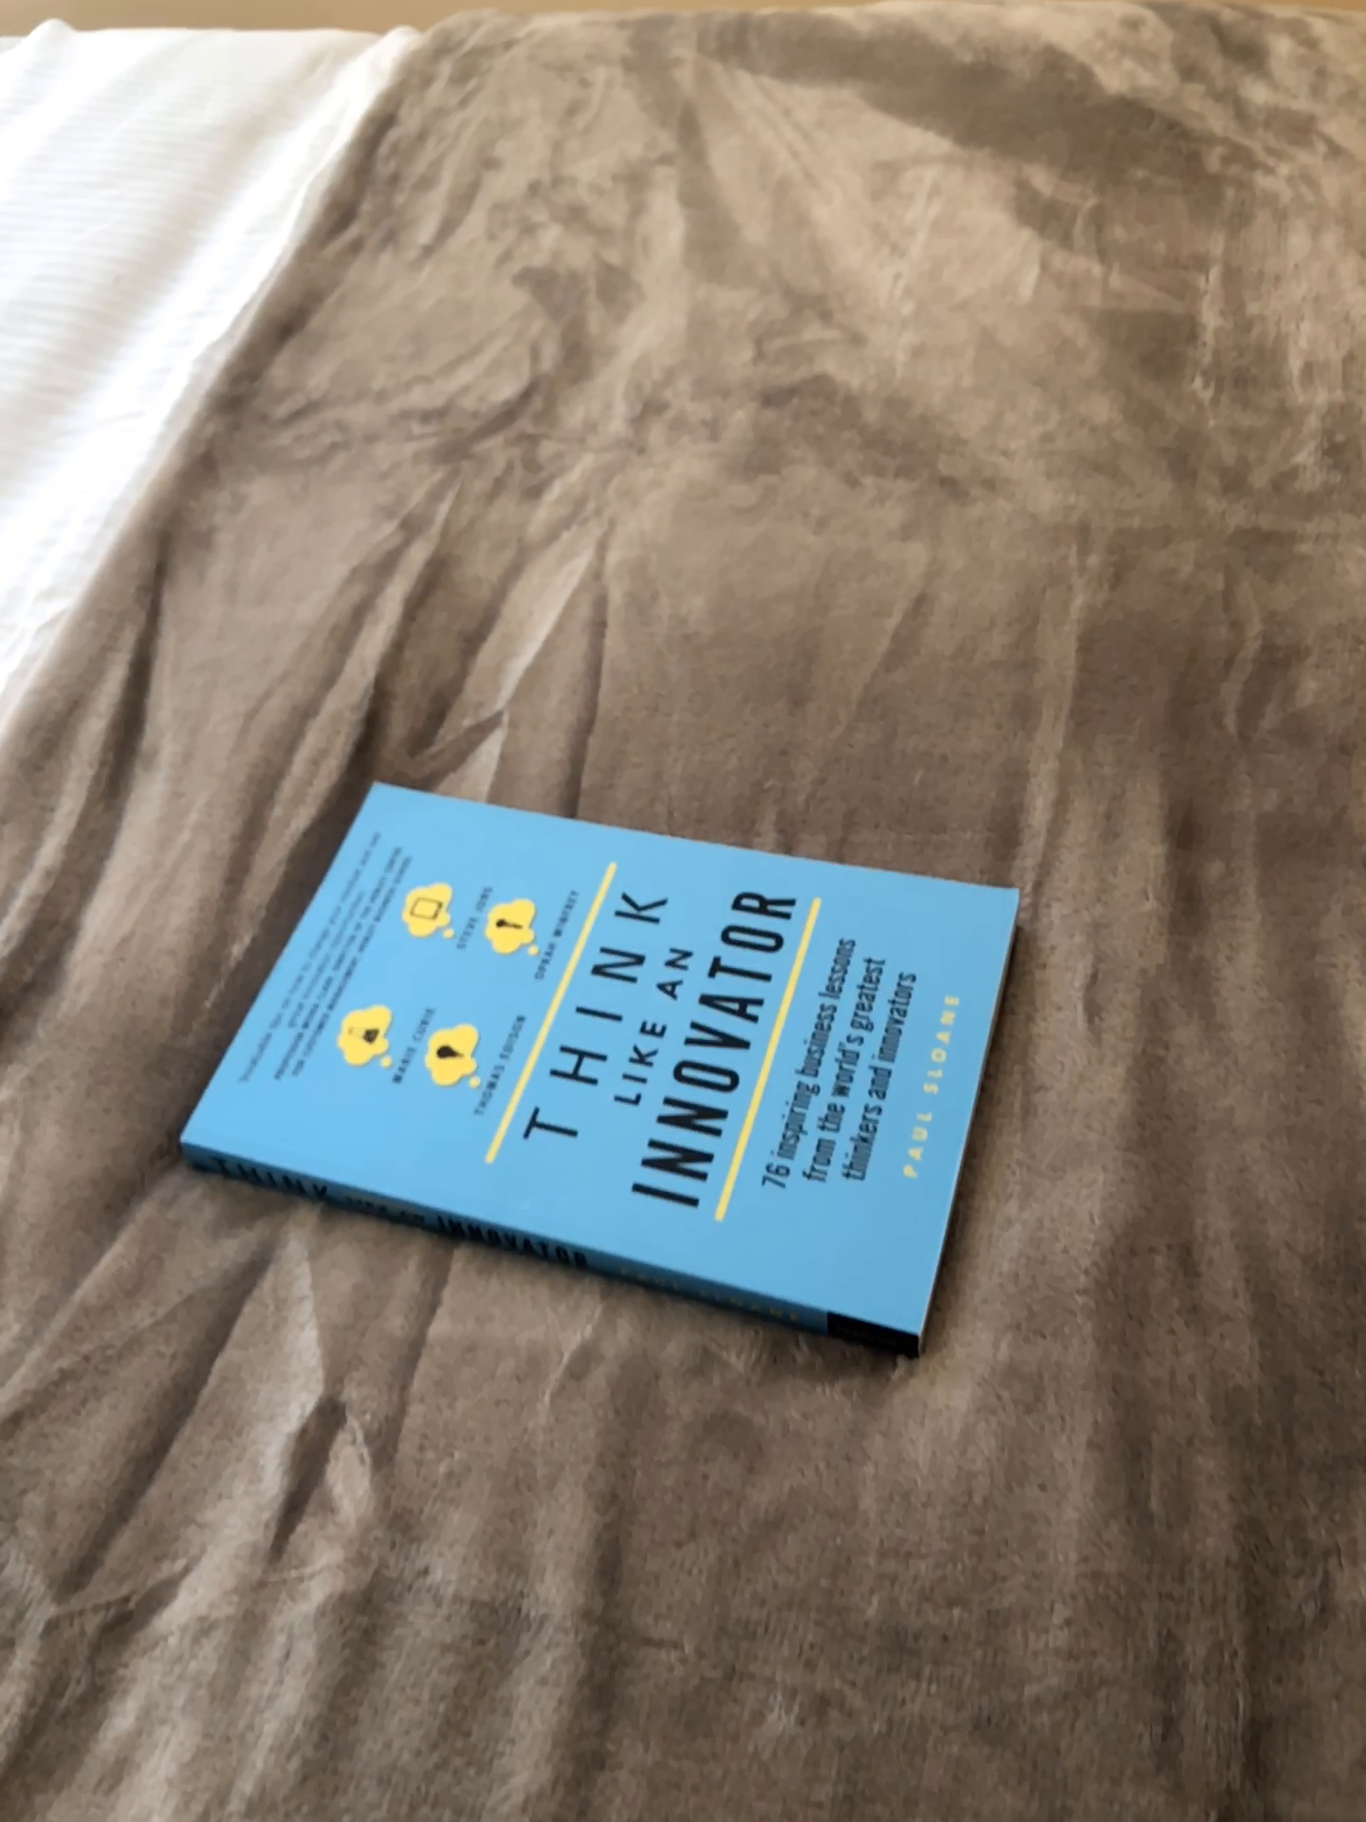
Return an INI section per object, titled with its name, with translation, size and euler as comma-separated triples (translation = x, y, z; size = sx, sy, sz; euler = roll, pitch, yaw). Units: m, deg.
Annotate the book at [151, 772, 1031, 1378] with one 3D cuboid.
[book]
translation = -0.023, 0.036, 0.438
size = 0.220, 0.020, 0.141
euler = 10, 58, 16
